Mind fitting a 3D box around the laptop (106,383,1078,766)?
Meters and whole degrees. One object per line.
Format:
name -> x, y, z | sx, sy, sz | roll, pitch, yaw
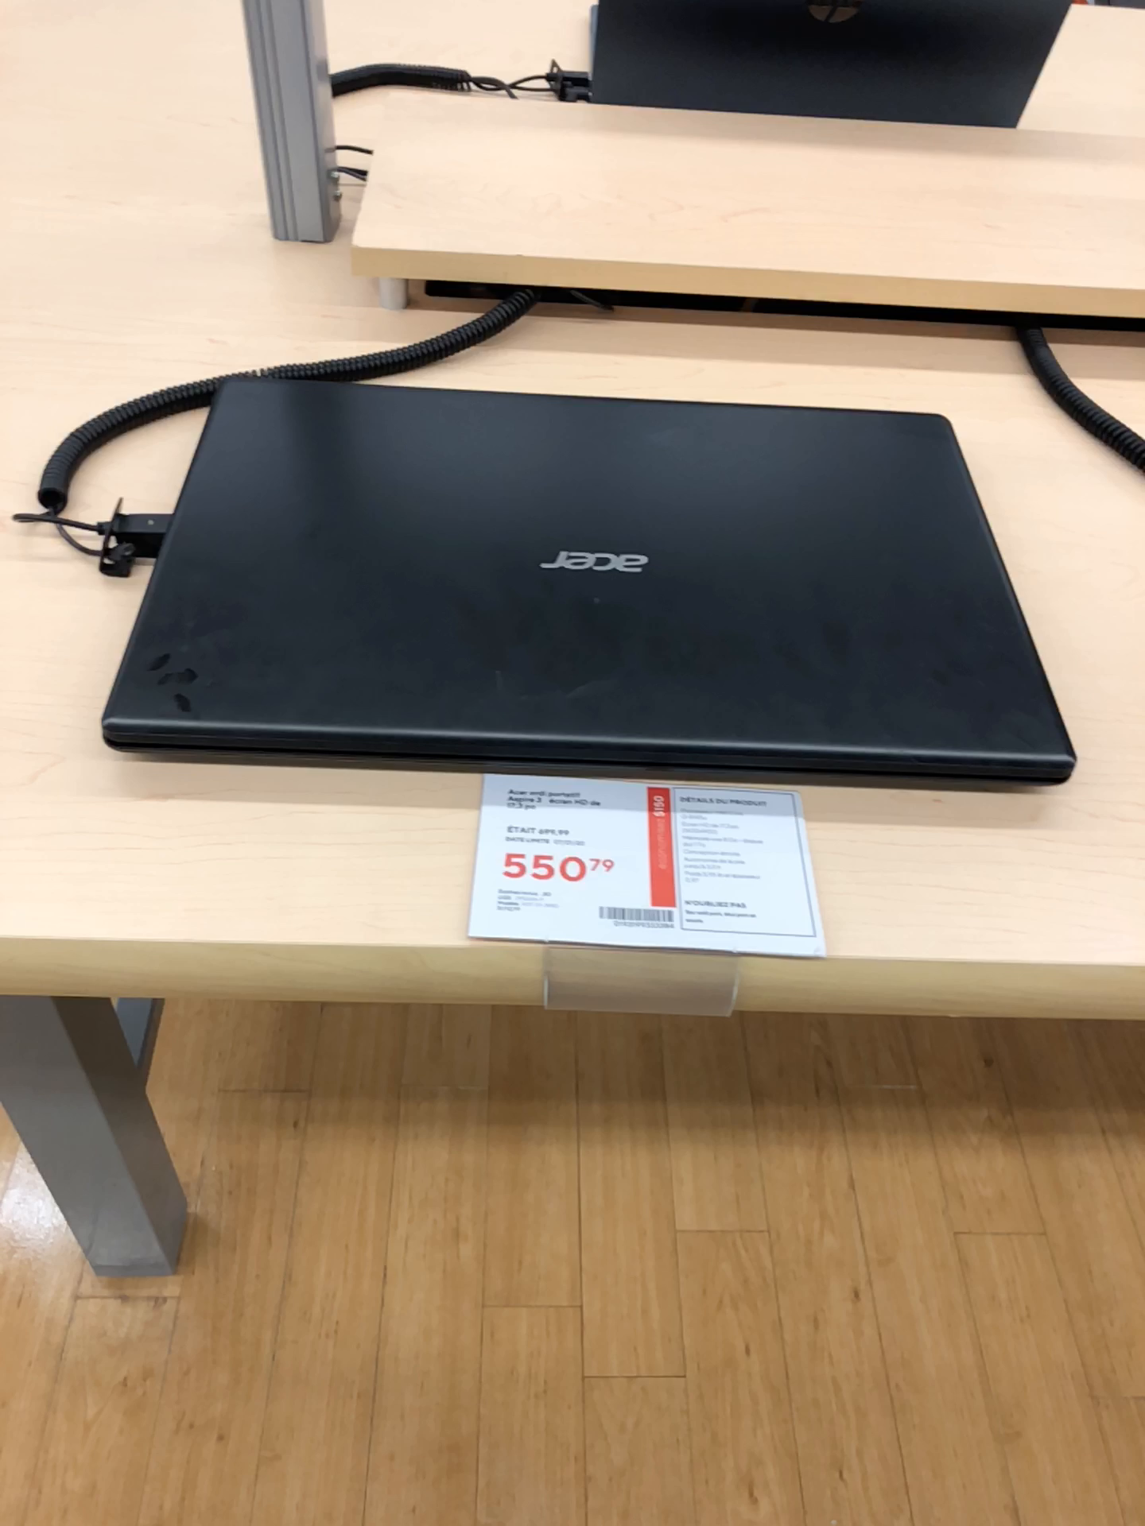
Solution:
laptop -> 0.009, -0.107, 0.630 | 0.416, 0.001, 0.268 | 2, 47, -2
